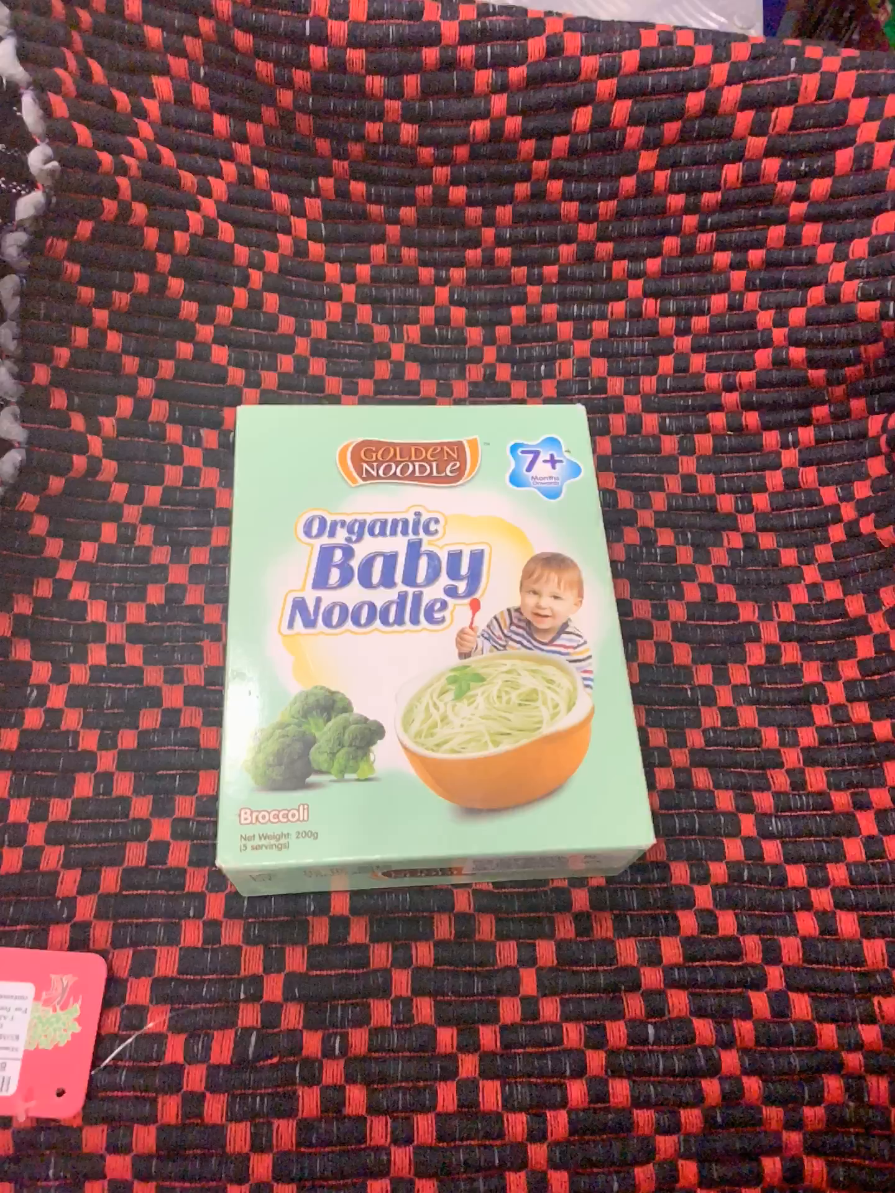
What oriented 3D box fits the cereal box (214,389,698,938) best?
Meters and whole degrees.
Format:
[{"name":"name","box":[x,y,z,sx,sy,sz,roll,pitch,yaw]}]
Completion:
[{"name":"cereal box","box":[-0.004,0.018,0.310,0.130,0.060,0.170,-1,64,-6]}]
